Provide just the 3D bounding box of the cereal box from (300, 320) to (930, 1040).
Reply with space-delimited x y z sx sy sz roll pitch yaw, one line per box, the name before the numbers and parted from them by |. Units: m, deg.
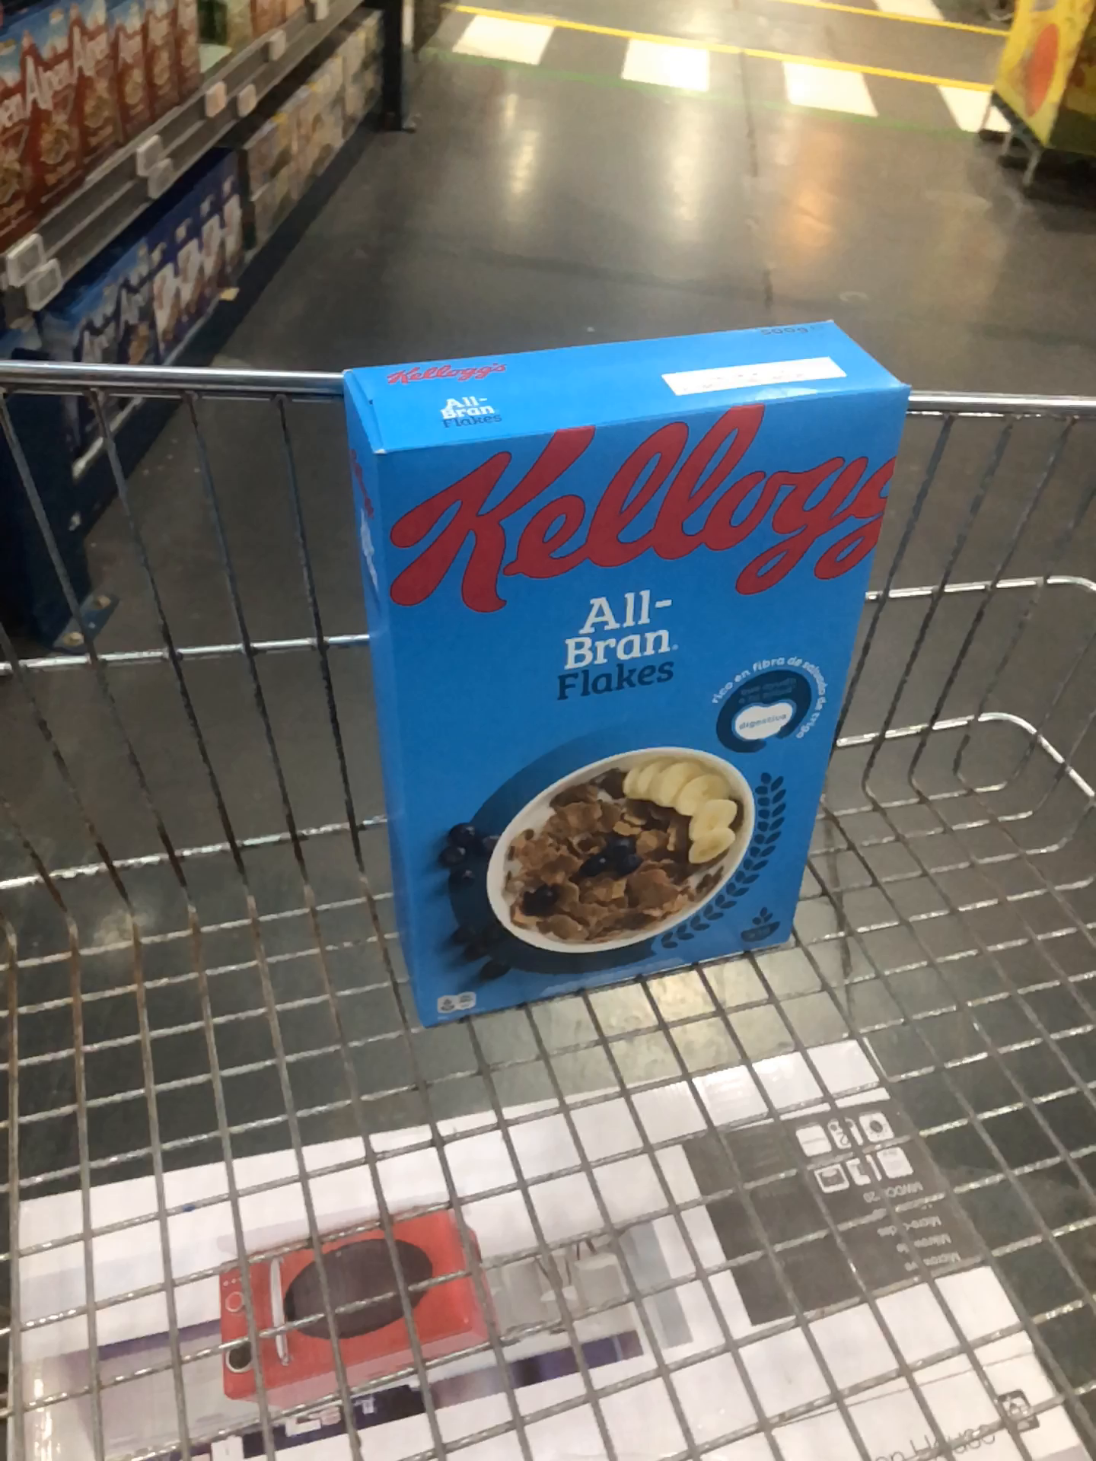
cereal box | 0.017 -0.013 0.498 0.200 0.269 0.080 -10 40 -17
